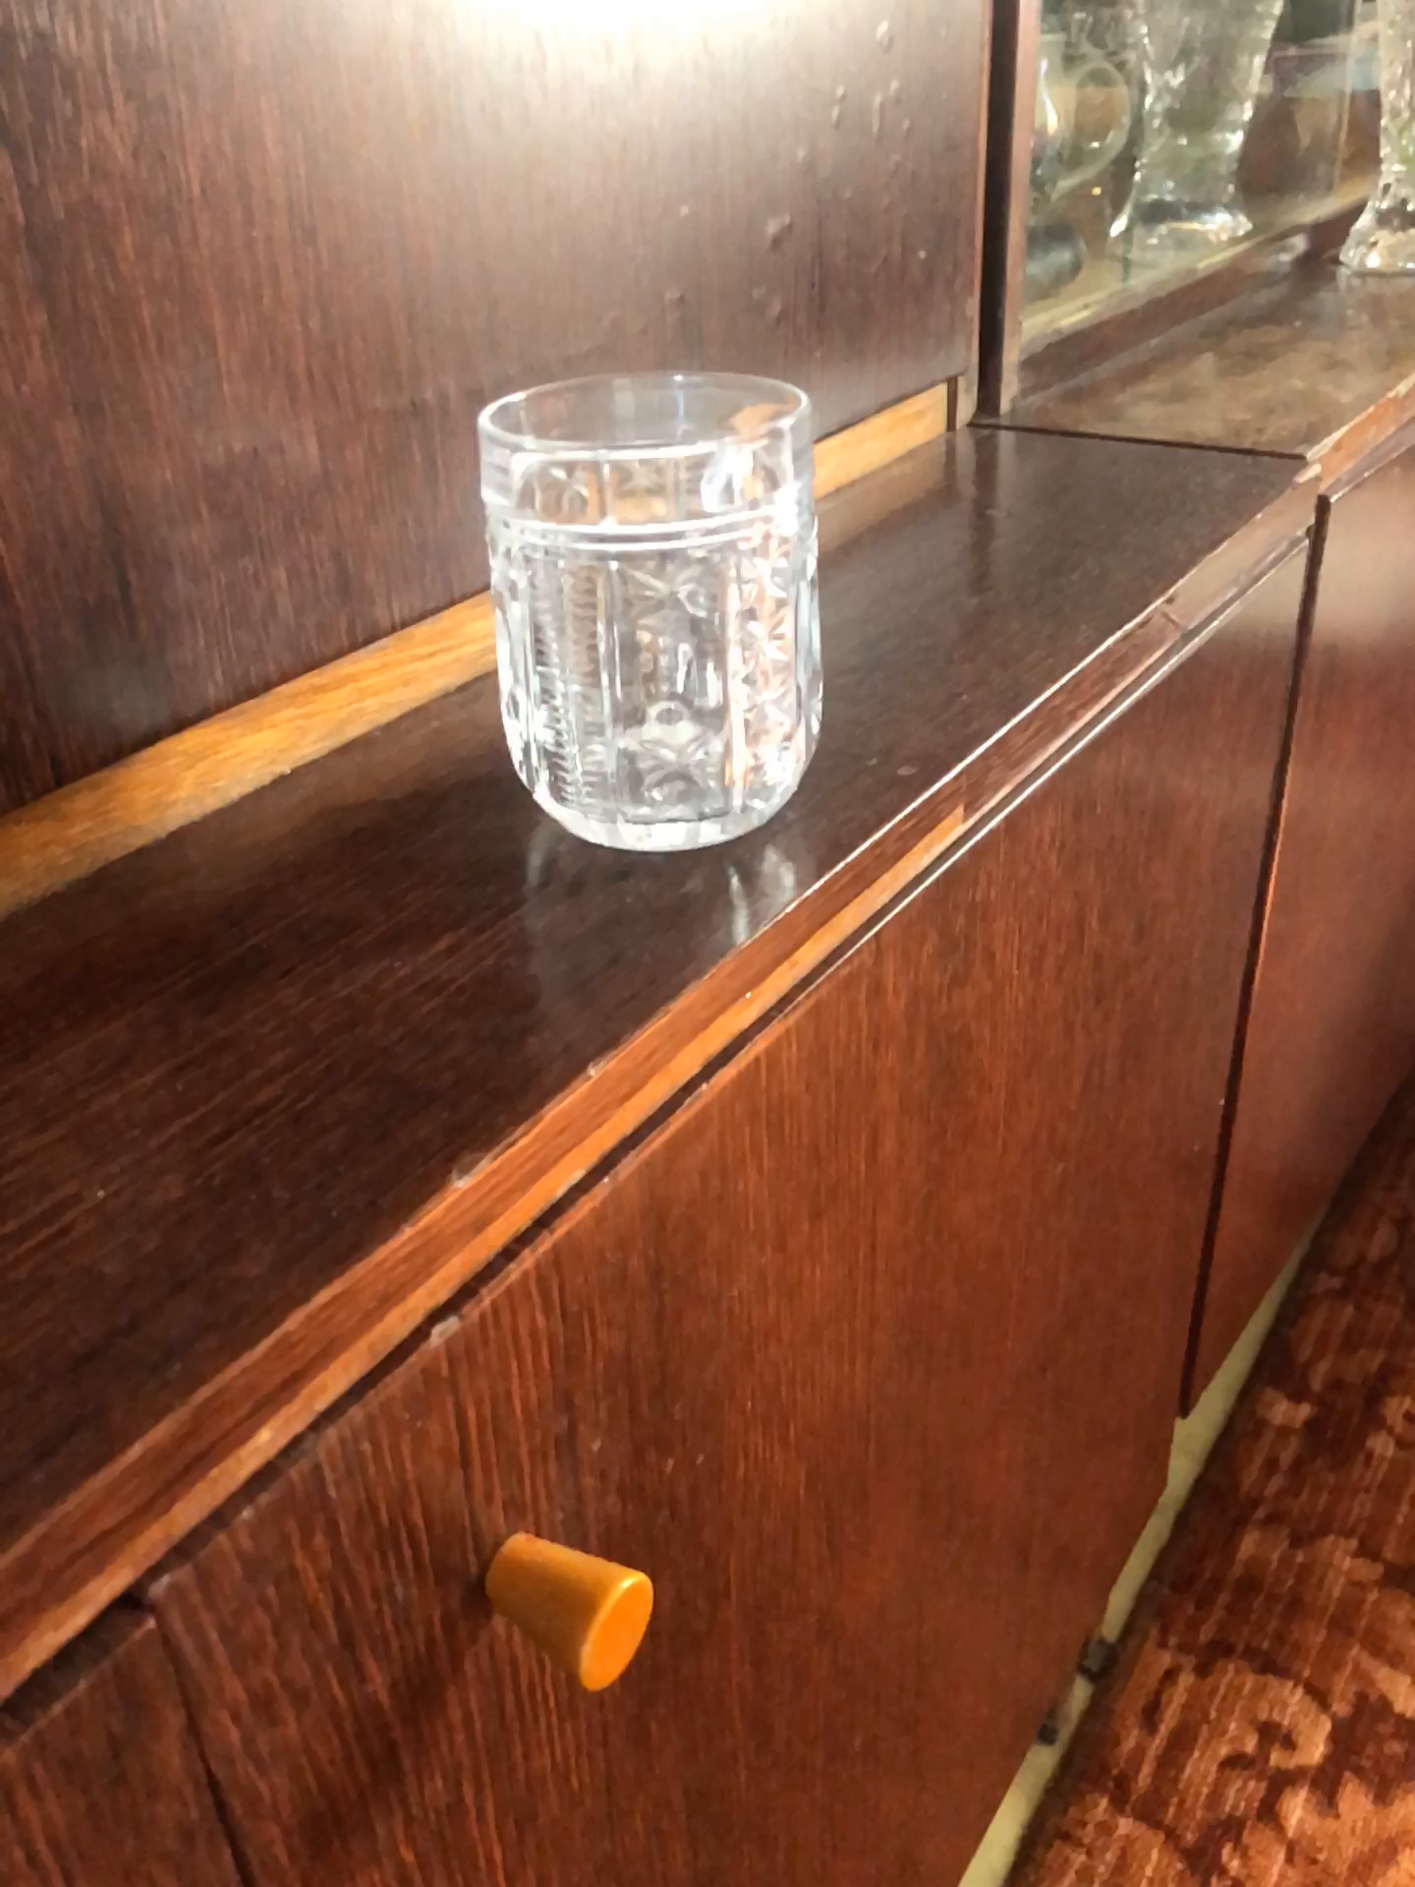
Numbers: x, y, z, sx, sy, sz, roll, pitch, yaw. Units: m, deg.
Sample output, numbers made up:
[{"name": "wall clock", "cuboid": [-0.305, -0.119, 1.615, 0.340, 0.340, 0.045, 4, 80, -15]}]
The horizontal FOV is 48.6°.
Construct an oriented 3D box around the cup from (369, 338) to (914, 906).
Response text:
[{"name": "cup", "cuboid": [-0.006, -0.071, 0.319, 0.070, 0.080, 0.100, 9, 33, 19]}]
